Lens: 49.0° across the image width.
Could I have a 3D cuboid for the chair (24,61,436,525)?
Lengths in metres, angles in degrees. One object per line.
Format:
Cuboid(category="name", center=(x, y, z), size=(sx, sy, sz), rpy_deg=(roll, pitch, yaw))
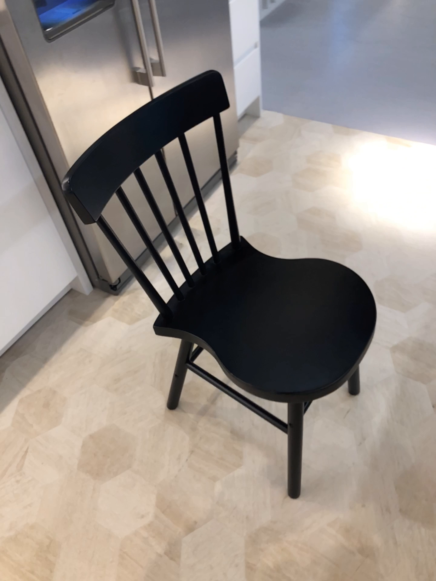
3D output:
Cuboid(category="chair", center=(0.077, 0.026, 1.032), size=(0.512, 0.745, 0.481), rpy_deg=(26, 56, 27))
